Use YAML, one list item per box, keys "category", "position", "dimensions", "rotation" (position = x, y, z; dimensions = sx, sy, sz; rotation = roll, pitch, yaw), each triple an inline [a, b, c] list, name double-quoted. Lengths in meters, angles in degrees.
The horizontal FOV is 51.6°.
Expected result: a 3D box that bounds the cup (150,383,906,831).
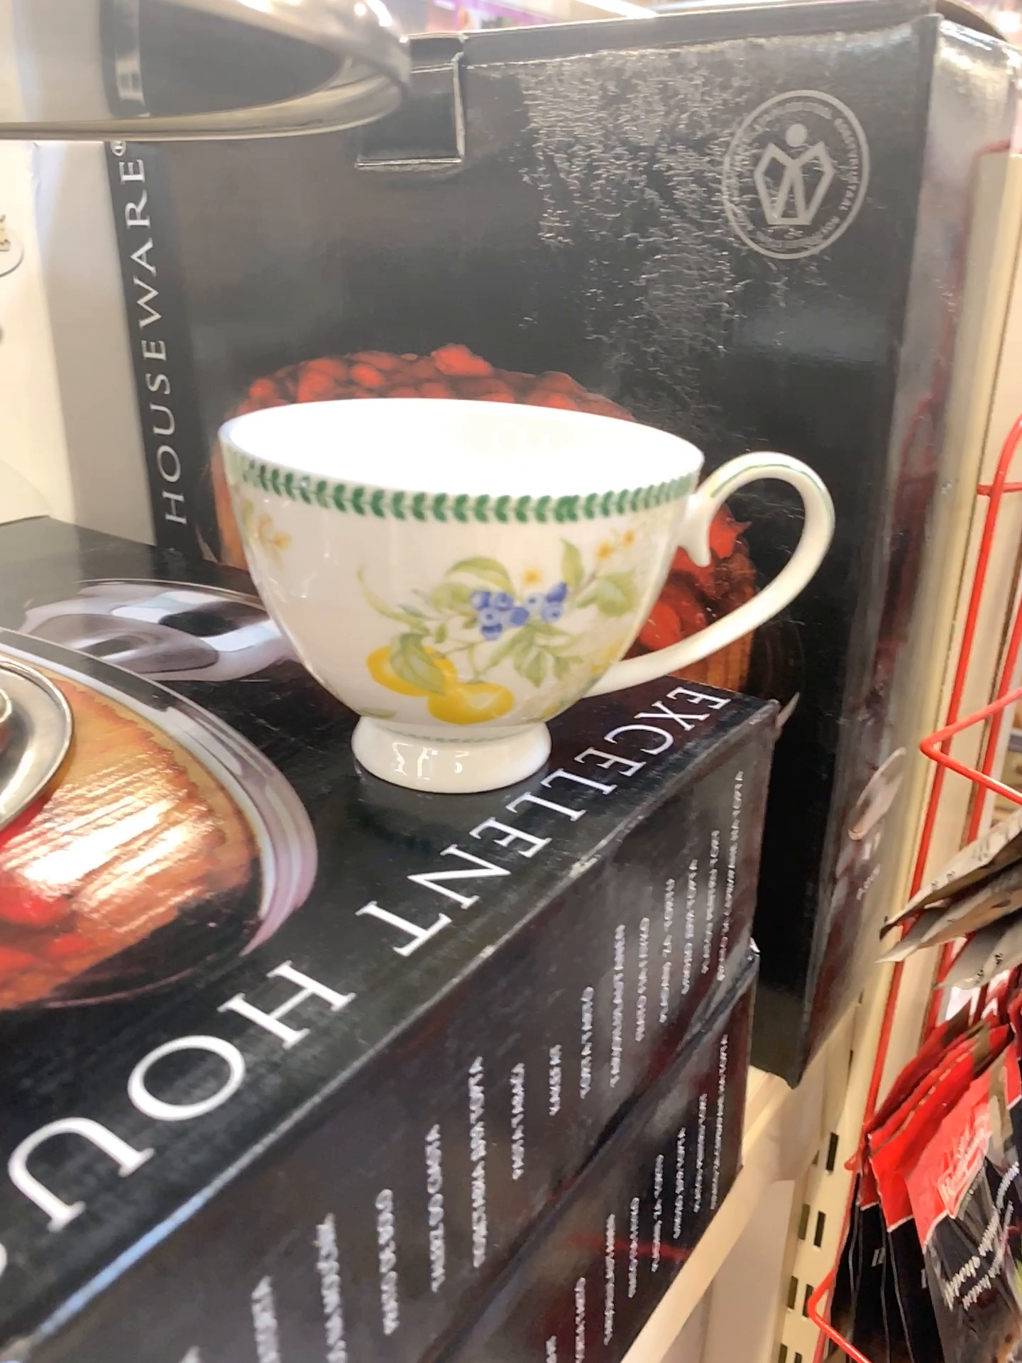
- category: "cup"
  position: [0.003, -0.024, 0.241]
  dimensions: [0.130, 0.070, 0.100]
  rotation: [1, 23, 0]
